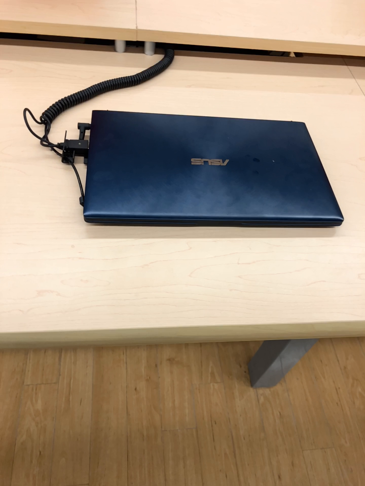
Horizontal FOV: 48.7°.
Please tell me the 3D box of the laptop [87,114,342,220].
[{"bbox_3d":[0.037,-0.100,0.508,0.295,0.001,0.178,0,54,-8],"label":"laptop"}]
